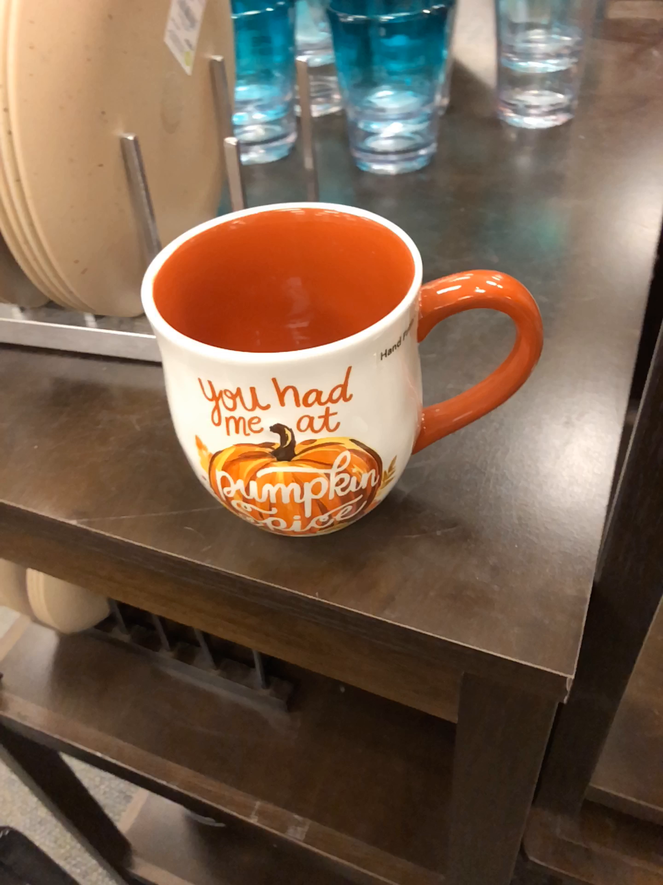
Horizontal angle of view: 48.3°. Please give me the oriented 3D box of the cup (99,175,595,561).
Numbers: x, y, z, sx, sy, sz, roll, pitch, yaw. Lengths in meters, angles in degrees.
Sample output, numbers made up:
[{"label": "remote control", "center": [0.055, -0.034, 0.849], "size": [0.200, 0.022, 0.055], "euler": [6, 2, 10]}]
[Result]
[{"label": "cup", "center": [0.007, -0.029, 0.282], "size": [0.143, 0.094, 0.102], "euler": [-4, 44, 3]}]
